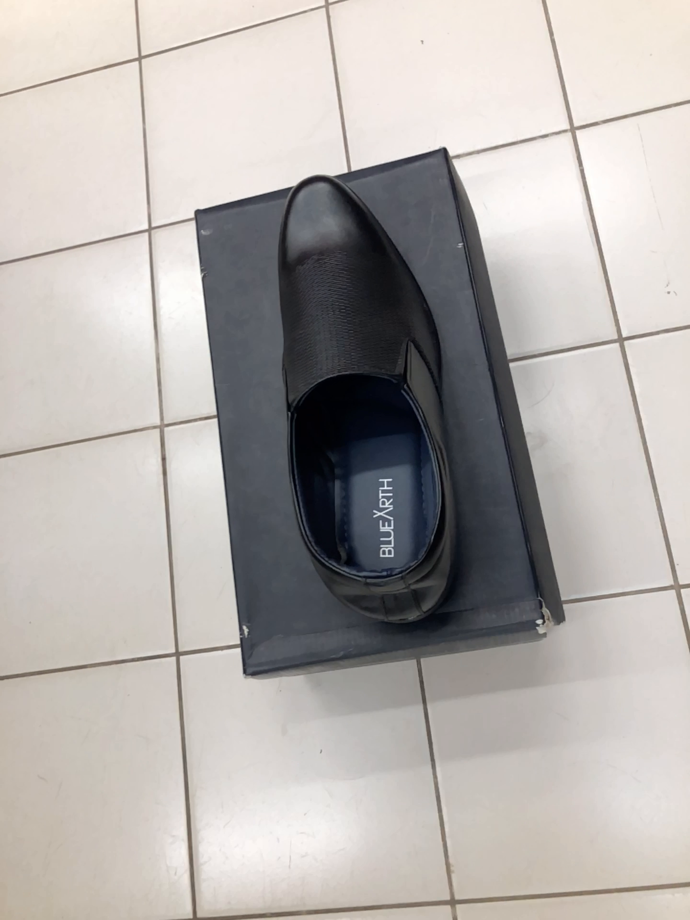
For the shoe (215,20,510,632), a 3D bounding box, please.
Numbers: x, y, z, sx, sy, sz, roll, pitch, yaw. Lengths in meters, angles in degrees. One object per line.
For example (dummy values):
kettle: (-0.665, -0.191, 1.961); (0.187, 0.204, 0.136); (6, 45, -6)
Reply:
shoe: (0.013, -0.074, 0.476); (0.100, 0.130, 0.340); (-13, 75, 9)
